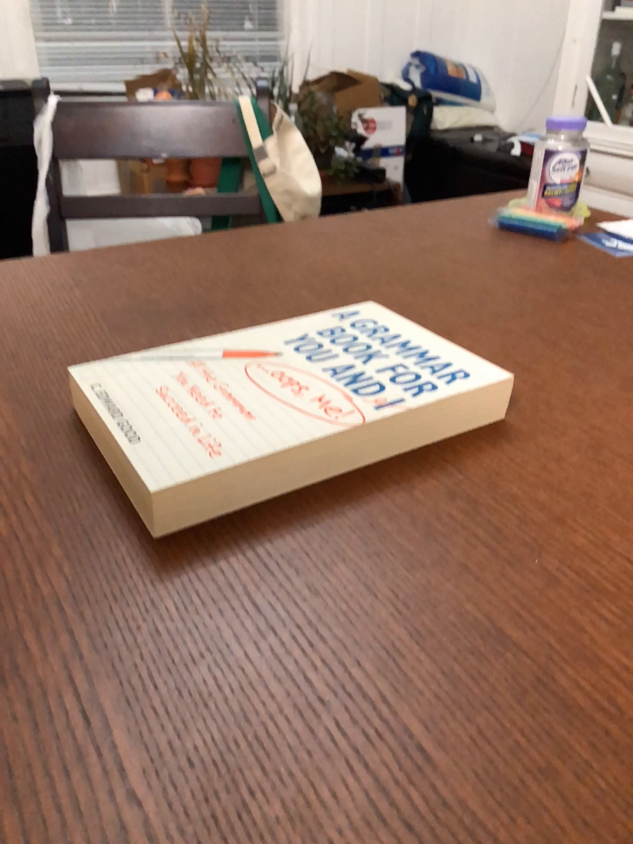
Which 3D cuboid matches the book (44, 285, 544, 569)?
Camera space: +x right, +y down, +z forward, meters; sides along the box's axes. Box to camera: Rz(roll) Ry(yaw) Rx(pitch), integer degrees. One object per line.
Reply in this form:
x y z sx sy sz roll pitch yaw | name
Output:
-0.017 -0.019 0.418 0.240 0.040 0.171 -16 34 -26 | book
